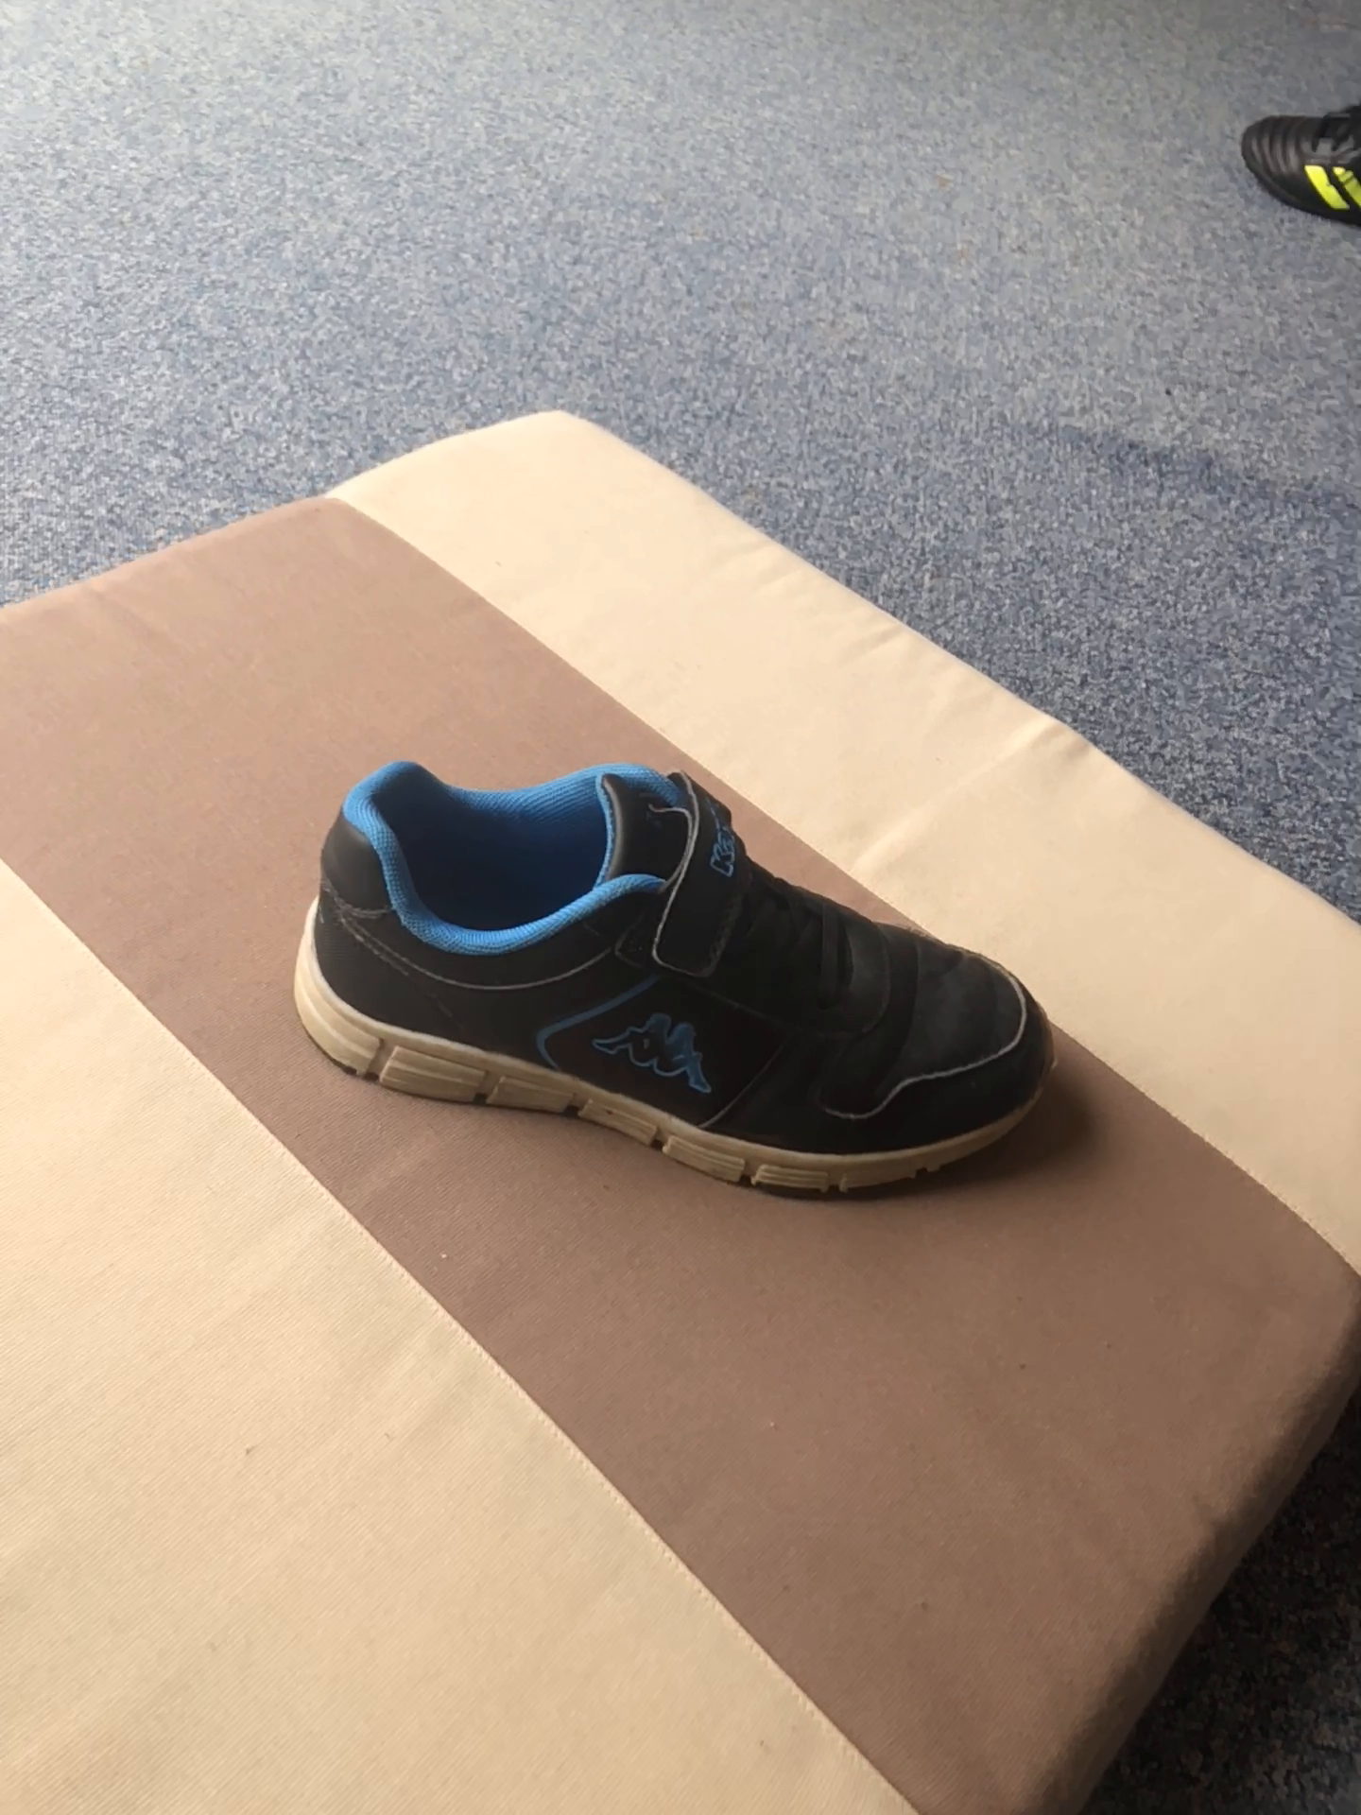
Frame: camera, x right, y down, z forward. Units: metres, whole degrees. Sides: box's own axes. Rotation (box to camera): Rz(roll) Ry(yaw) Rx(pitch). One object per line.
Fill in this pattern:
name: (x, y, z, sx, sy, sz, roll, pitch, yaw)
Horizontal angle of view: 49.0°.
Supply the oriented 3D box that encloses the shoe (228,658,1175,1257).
shoe: (0.005, 0.016, 0.439, 0.240, 0.089, 0.101, 11, 46, -3)
